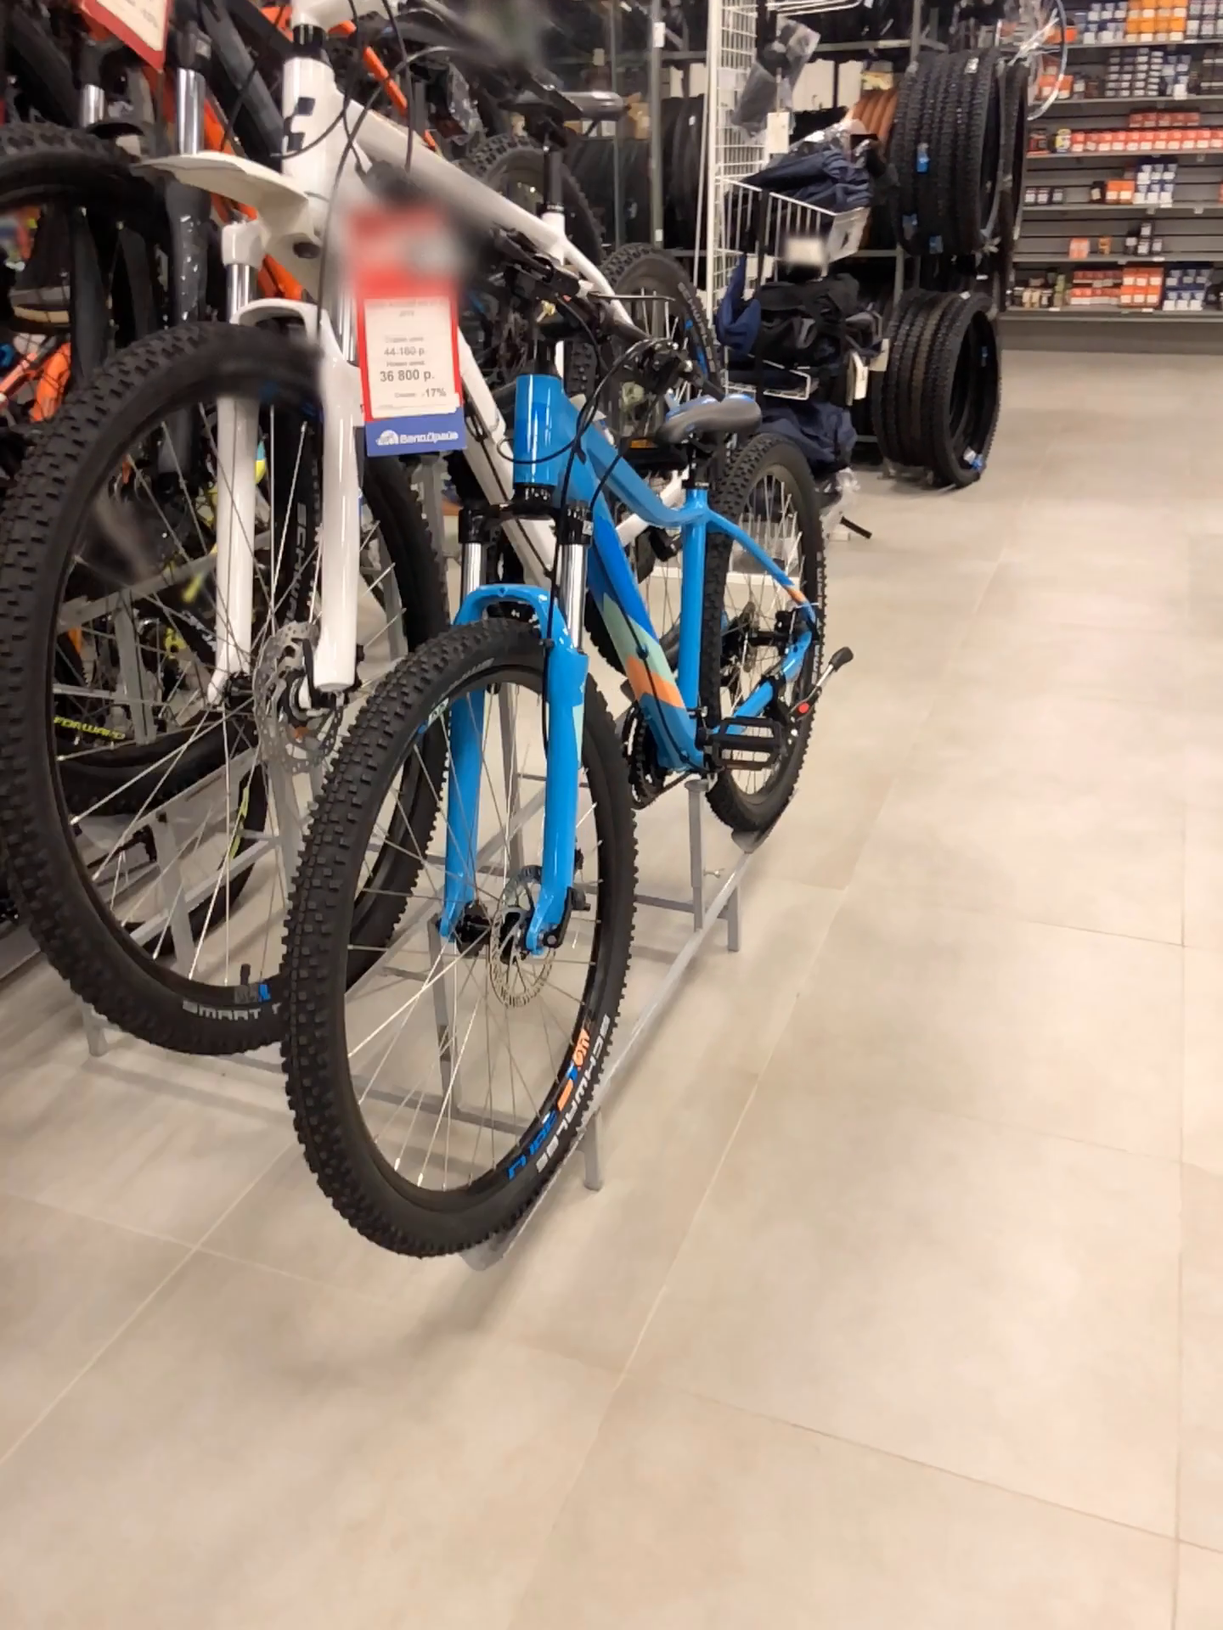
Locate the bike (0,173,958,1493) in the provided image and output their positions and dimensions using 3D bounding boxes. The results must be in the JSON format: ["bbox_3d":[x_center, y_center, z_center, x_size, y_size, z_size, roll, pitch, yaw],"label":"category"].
[{"bbox_3d":[-0.037,-0.244,1.824,0.630,1.082,1.710,8,28,19],"label":"bike"}]
